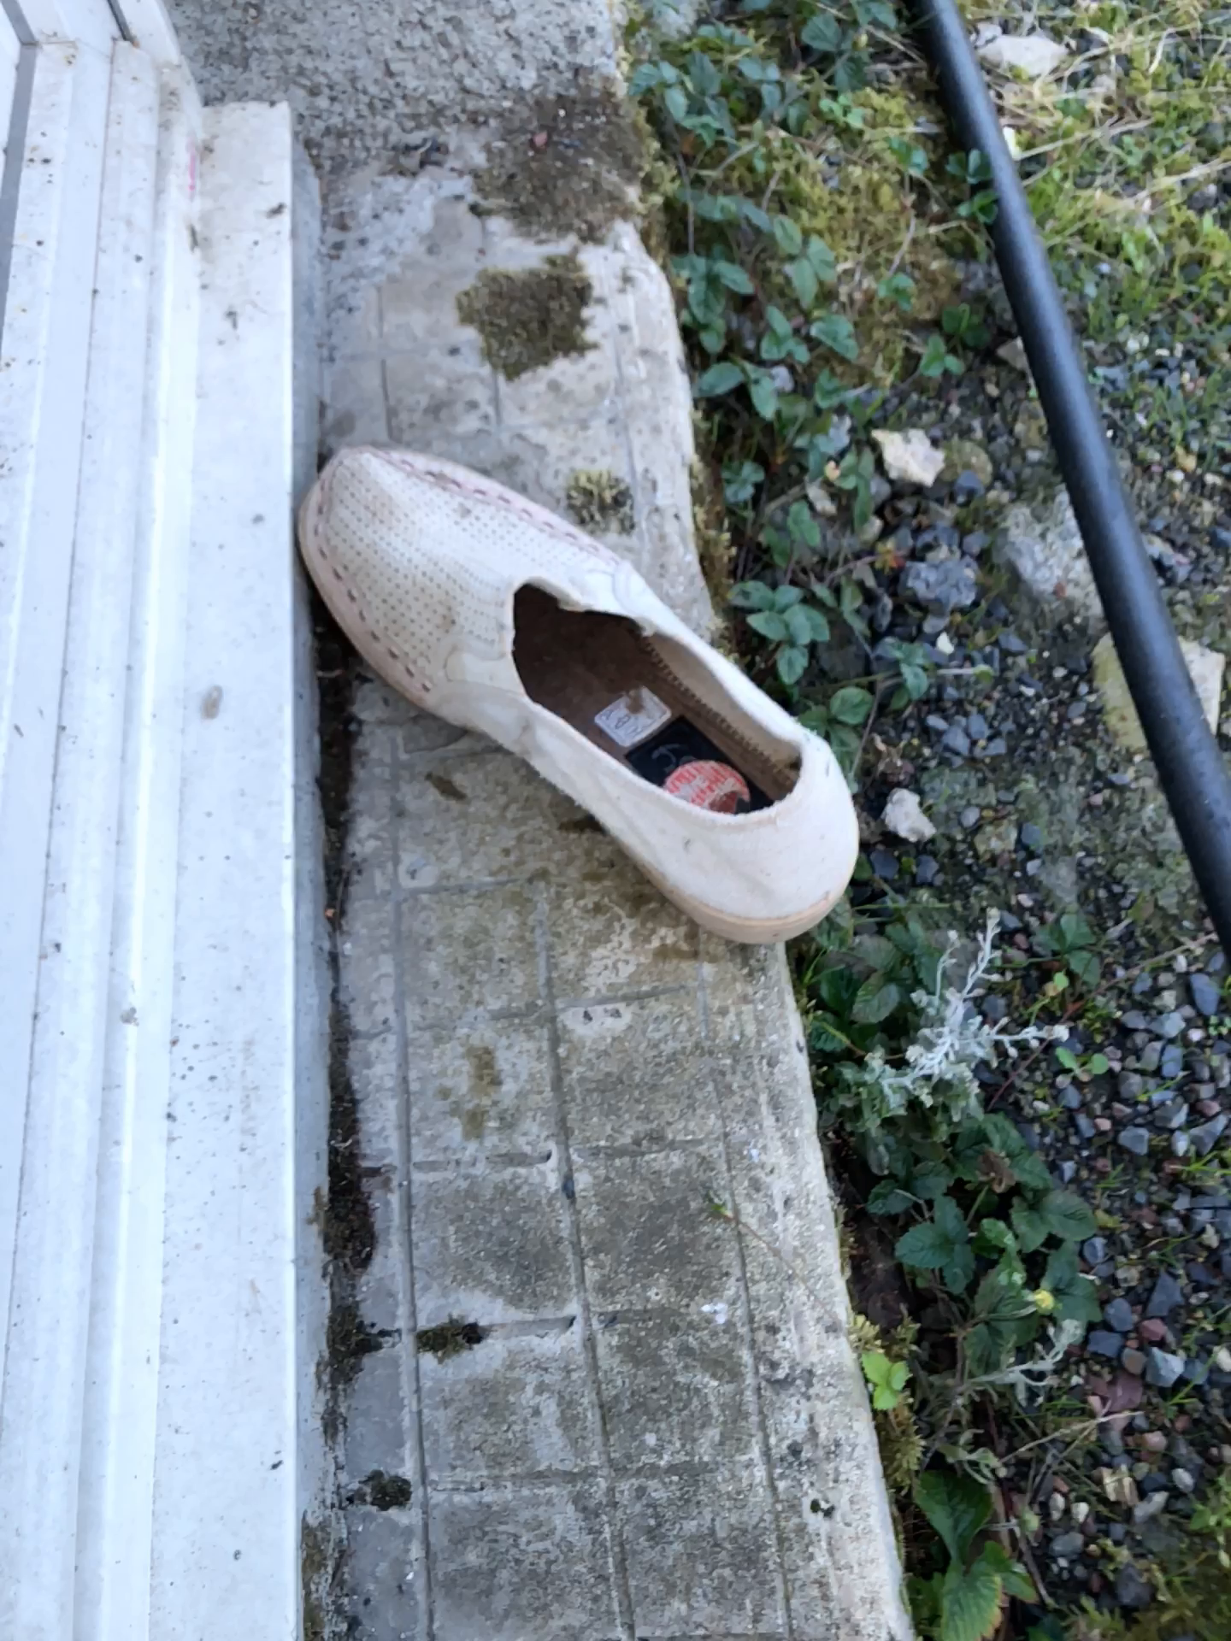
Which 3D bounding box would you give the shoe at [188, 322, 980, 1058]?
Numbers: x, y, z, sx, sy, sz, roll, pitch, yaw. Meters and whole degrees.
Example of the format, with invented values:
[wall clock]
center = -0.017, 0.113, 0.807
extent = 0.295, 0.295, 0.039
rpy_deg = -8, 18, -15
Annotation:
[shoe]
center = -0.018, -0.054, 0.497
extent = 0.280, 0.080, 0.100
rpy_deg = 41, 74, 20
